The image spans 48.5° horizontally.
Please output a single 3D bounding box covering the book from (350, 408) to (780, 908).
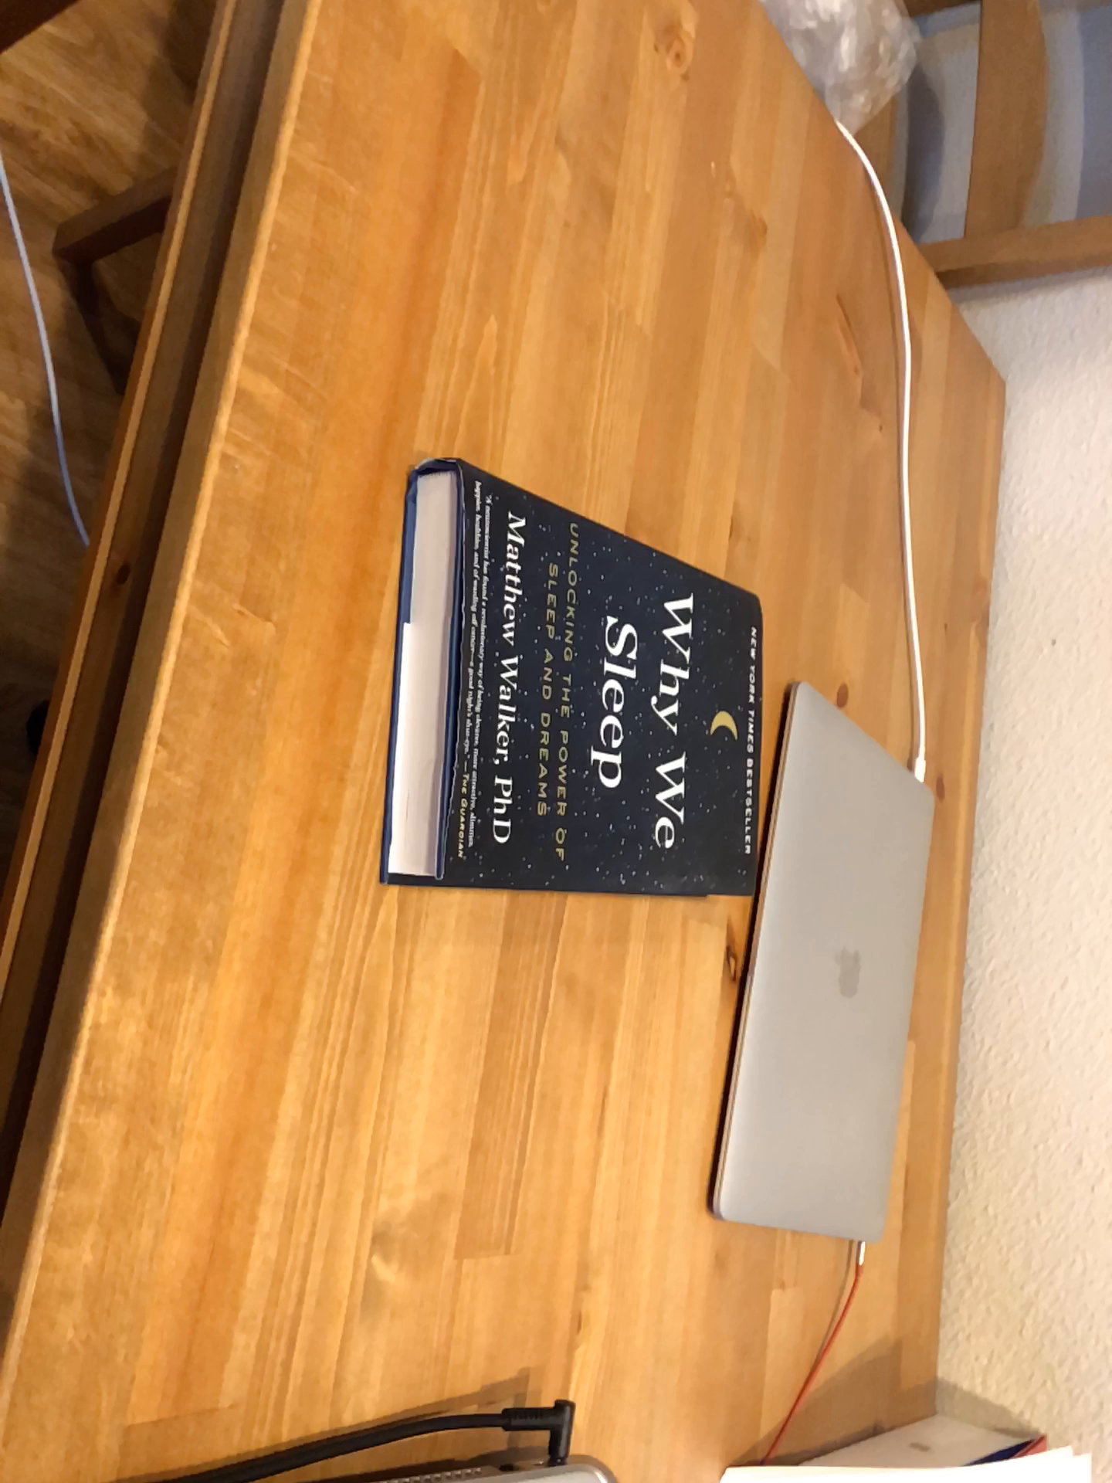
[{"bbox_3d":[0.020,-0.017,0.529,0.242,0.040,0.170,11,79,-52],"label":"book"}]
